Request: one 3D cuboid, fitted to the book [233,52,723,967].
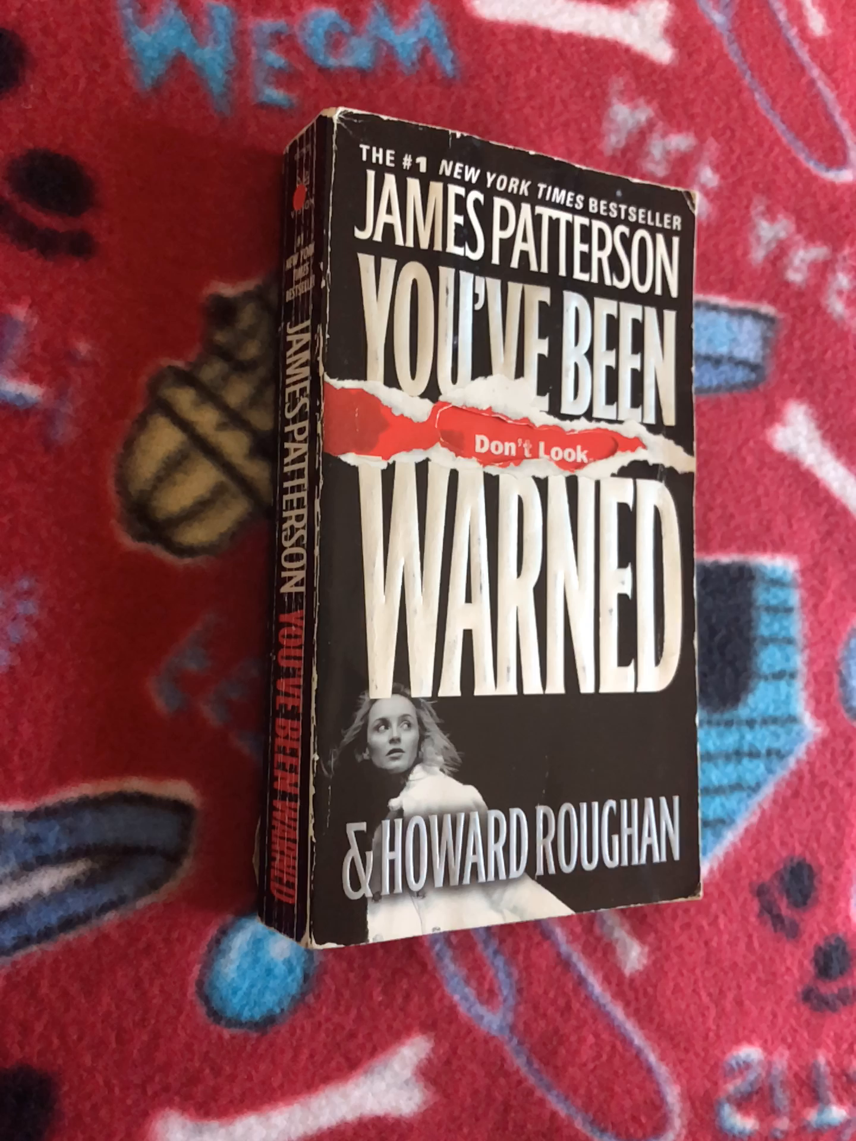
[{"bbox_3d":[0.015,-0.011,0.240,0.110,0.040,0.190,3,89,-26],"label":"book"}]
